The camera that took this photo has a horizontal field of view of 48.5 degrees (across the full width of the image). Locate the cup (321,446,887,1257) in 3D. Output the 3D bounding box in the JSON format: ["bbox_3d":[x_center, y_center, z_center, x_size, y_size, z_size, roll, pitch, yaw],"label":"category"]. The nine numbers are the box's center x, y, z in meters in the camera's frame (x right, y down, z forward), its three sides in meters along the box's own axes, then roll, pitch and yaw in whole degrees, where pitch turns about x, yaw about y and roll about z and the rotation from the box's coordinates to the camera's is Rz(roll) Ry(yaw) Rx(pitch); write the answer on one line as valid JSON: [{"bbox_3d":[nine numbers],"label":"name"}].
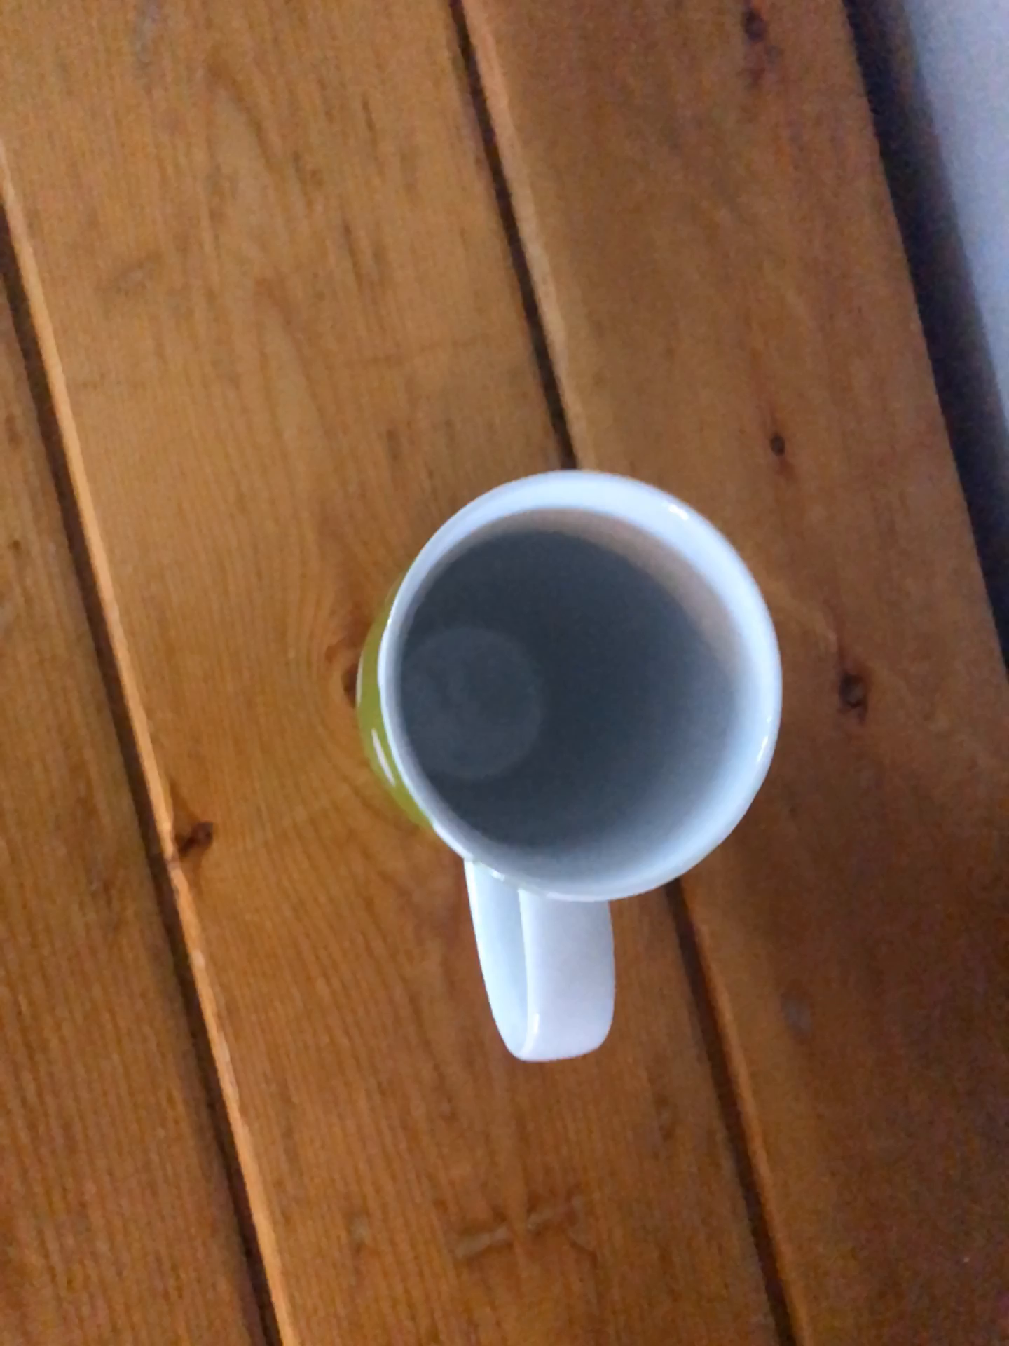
[{"bbox_3d":[0.009,0.036,0.298,0.100,0.150,0.150,-6,88,-10],"label":"cup"}]
